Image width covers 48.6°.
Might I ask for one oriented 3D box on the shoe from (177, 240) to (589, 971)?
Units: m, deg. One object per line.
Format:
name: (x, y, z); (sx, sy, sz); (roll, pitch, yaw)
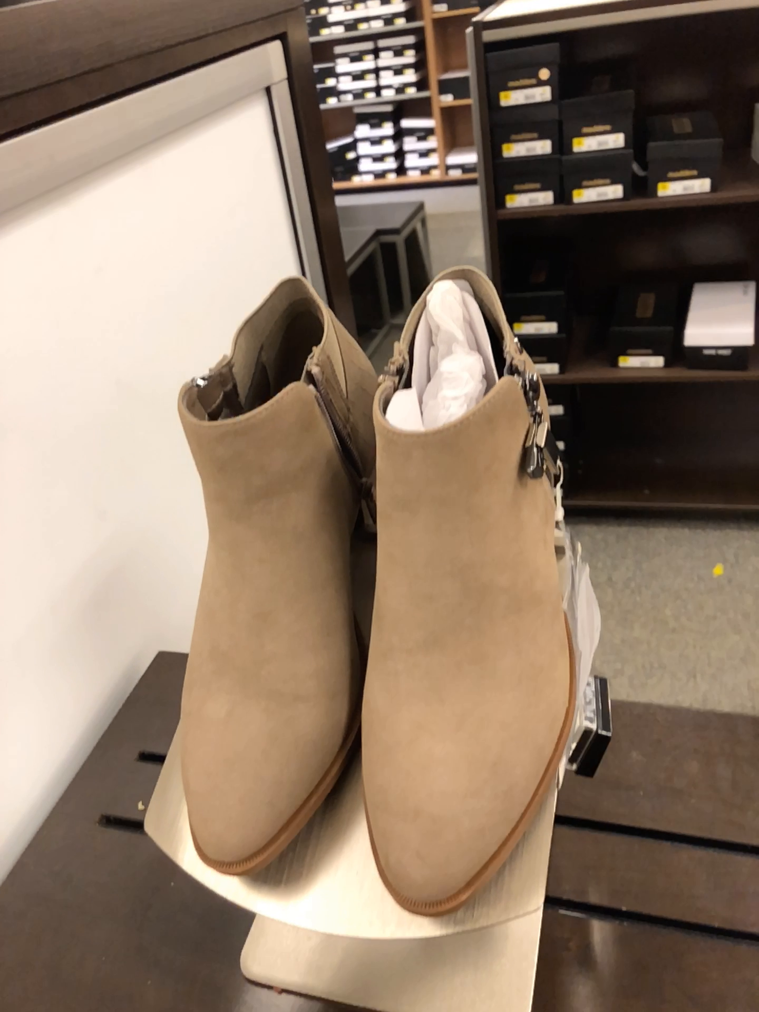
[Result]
shoe: (0.032, 0.019, 0.335); (0.094, 0.153, 0.240); (0, 39, 15)

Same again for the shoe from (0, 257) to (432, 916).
shoe: (-0.052, 0.019, 0.361); (0.094, 0.152, 0.231); (0, 41, 15)
